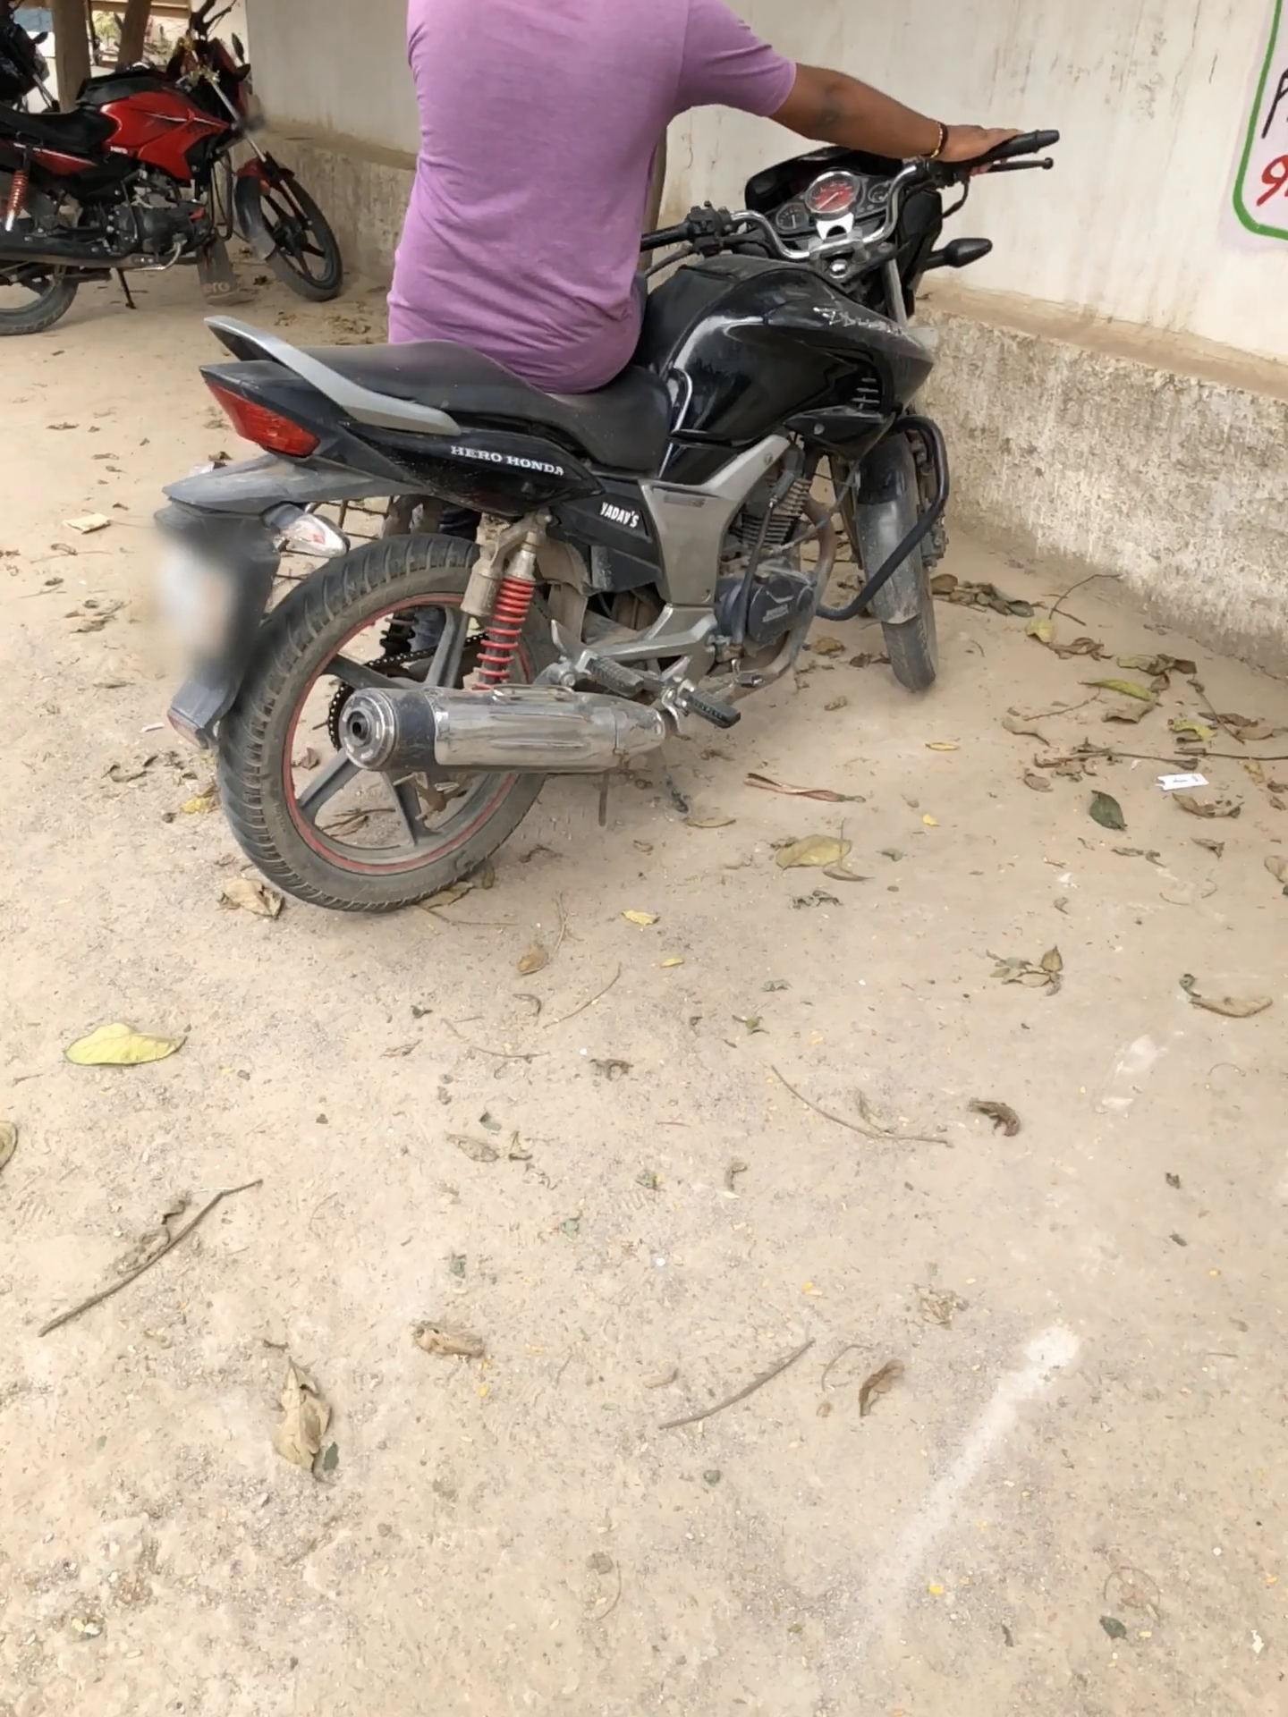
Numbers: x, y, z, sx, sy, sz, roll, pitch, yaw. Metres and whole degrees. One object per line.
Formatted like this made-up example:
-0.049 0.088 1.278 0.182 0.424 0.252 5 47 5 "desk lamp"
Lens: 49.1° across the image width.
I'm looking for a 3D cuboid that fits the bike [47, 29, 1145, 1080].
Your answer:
0.028 -0.762 2.537 0.824 1.190 1.849 24 38 32 "bike"
